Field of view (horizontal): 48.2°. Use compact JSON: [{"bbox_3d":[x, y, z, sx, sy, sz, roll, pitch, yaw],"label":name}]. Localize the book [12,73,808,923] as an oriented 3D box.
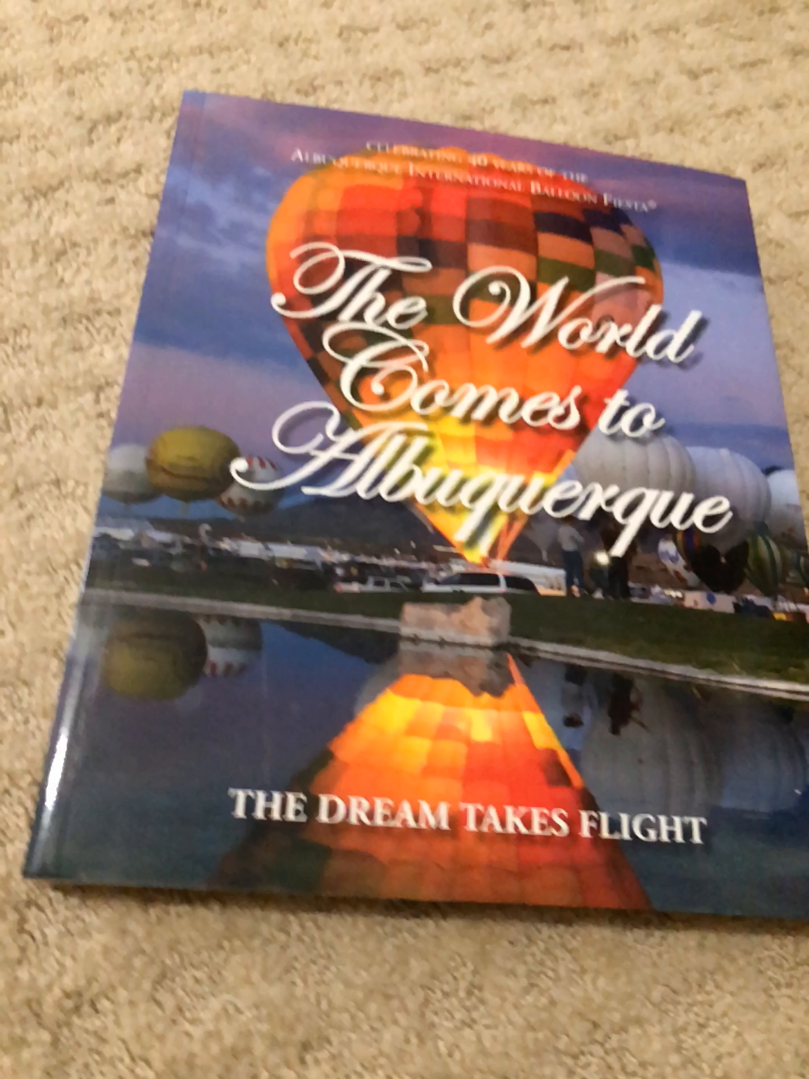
[{"bbox_3d":[0.019,-0.029,0.274,0.204,0.023,0.258,5,64,-6],"label":"book"}]
